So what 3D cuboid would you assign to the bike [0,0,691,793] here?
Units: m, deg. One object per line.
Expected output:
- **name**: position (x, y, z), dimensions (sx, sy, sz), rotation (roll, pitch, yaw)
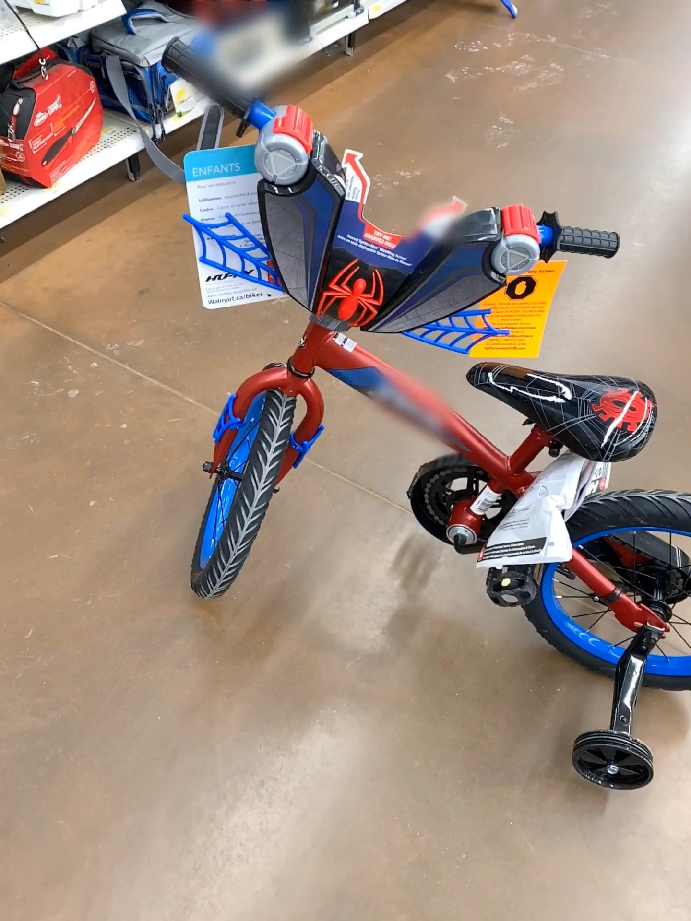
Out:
- **bike**: position (0.136, -0.023, 0.764), dimensions (0.565, 0.708, 0.477), rotation (9, 49, 5)
